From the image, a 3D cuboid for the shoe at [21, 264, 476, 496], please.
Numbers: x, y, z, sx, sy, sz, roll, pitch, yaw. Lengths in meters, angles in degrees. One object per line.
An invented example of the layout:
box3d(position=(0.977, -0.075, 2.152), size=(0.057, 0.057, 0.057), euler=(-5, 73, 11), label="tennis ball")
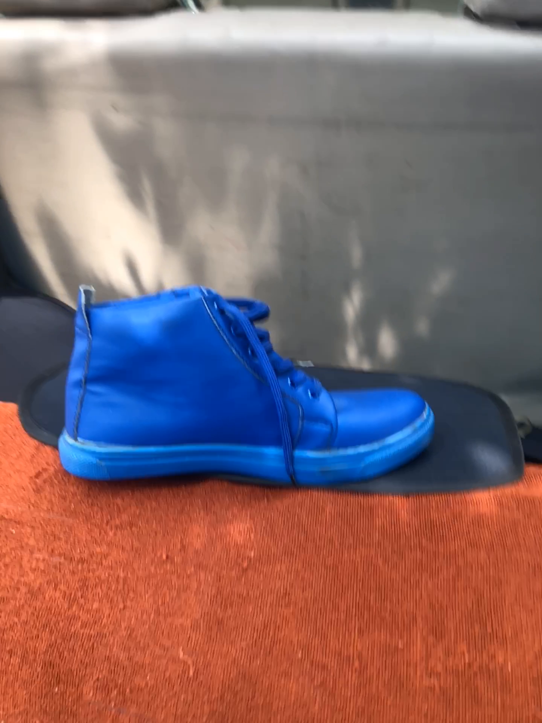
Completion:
box3d(position=(-0.017, 0.010, 0.449), size=(0.290, 0.139, 0.100), euler=(1, 18, -7), label="shoe")
